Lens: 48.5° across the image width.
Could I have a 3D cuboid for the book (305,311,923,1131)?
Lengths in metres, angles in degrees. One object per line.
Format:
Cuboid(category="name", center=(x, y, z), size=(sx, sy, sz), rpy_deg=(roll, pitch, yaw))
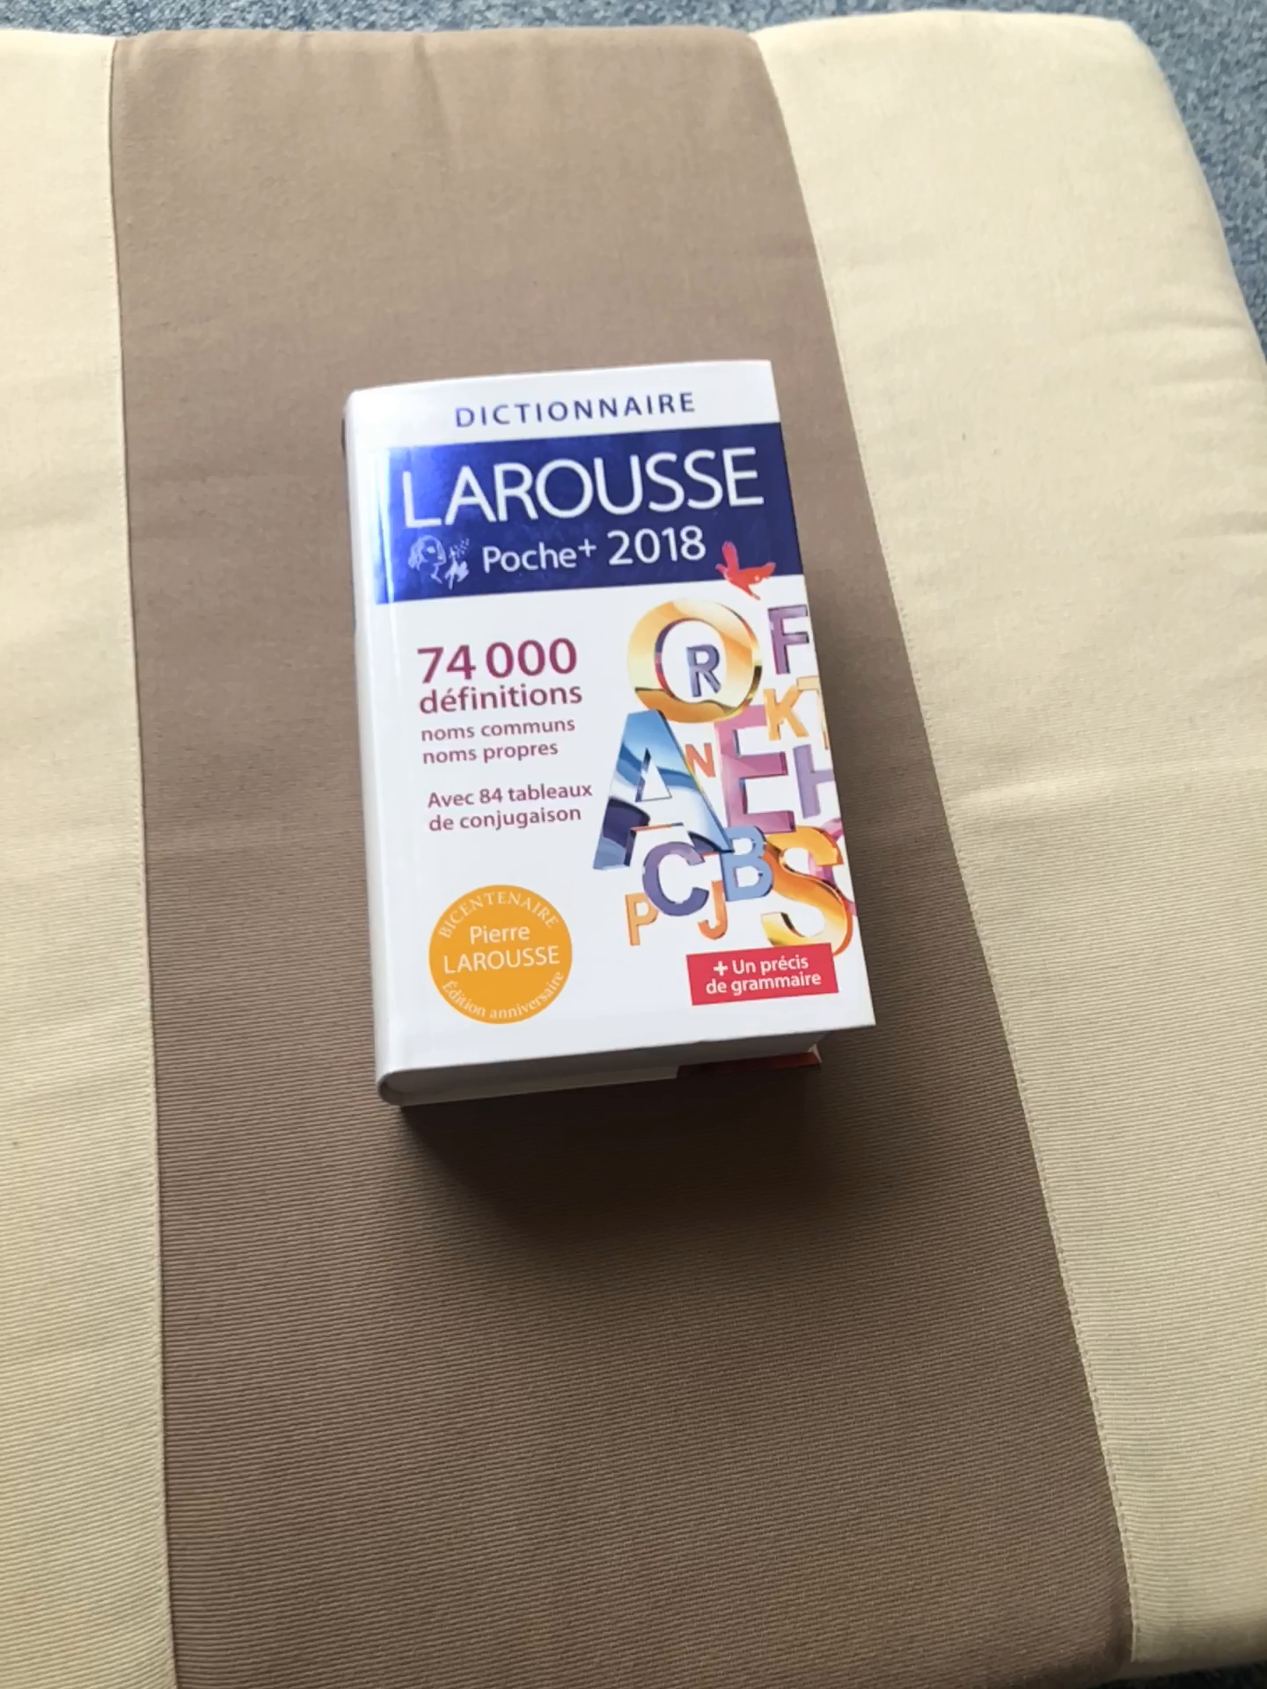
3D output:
Cuboid(category="book", center=(-0.013, -0.036, 0.368), size=(0.130, 0.060, 0.200), rpy_deg=(-4, 71, -7))
